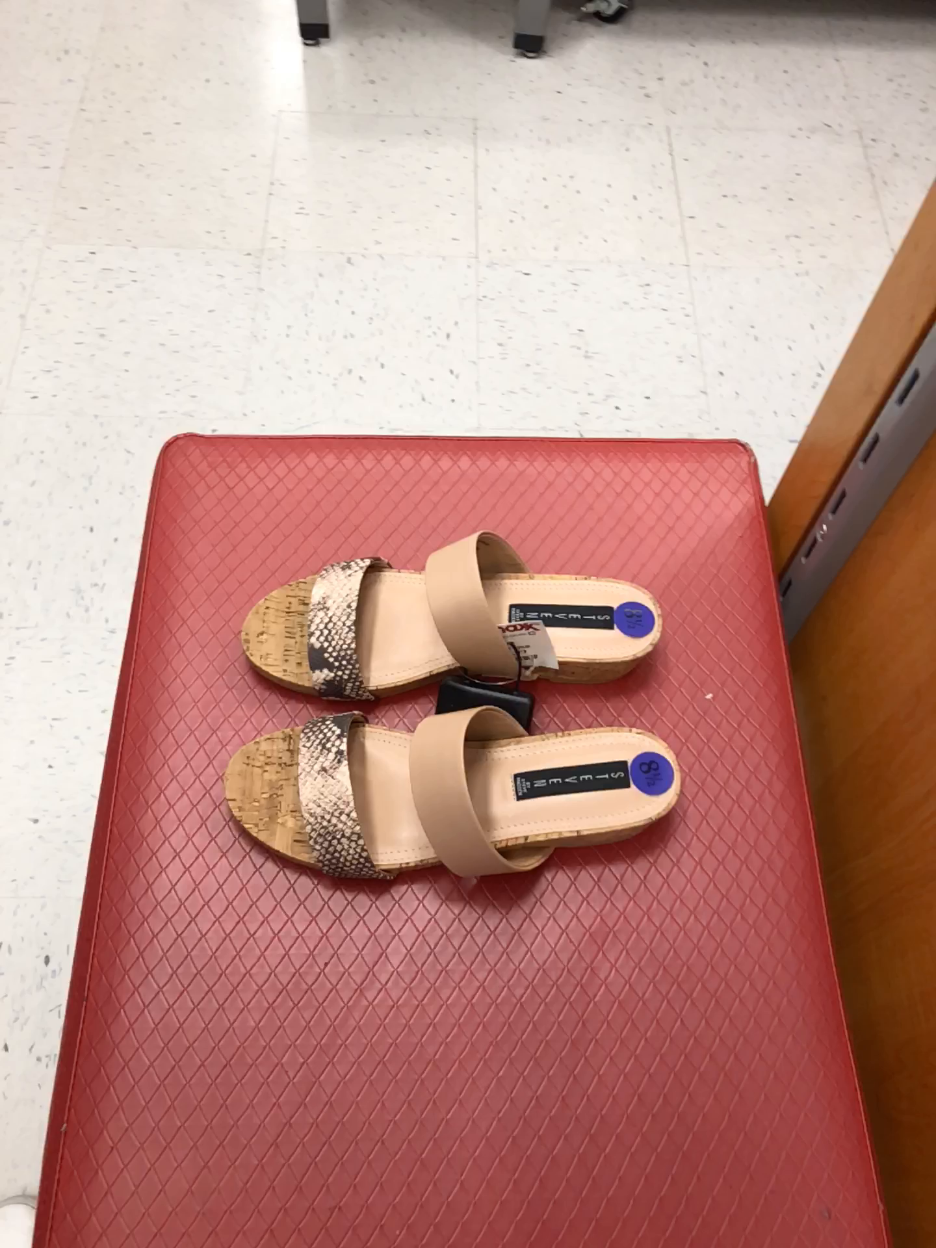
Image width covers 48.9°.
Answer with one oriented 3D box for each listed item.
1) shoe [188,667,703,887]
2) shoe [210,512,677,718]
[{"bbox_3d":[-0.012,0.088,0.575,0.257,0.085,0.096,1,61,-2],"label":"shoe"},{"bbox_3d":[-0.015,-0.004,0.627,0.257,0.085,0.095,0,62,-3],"label":"shoe"}]
